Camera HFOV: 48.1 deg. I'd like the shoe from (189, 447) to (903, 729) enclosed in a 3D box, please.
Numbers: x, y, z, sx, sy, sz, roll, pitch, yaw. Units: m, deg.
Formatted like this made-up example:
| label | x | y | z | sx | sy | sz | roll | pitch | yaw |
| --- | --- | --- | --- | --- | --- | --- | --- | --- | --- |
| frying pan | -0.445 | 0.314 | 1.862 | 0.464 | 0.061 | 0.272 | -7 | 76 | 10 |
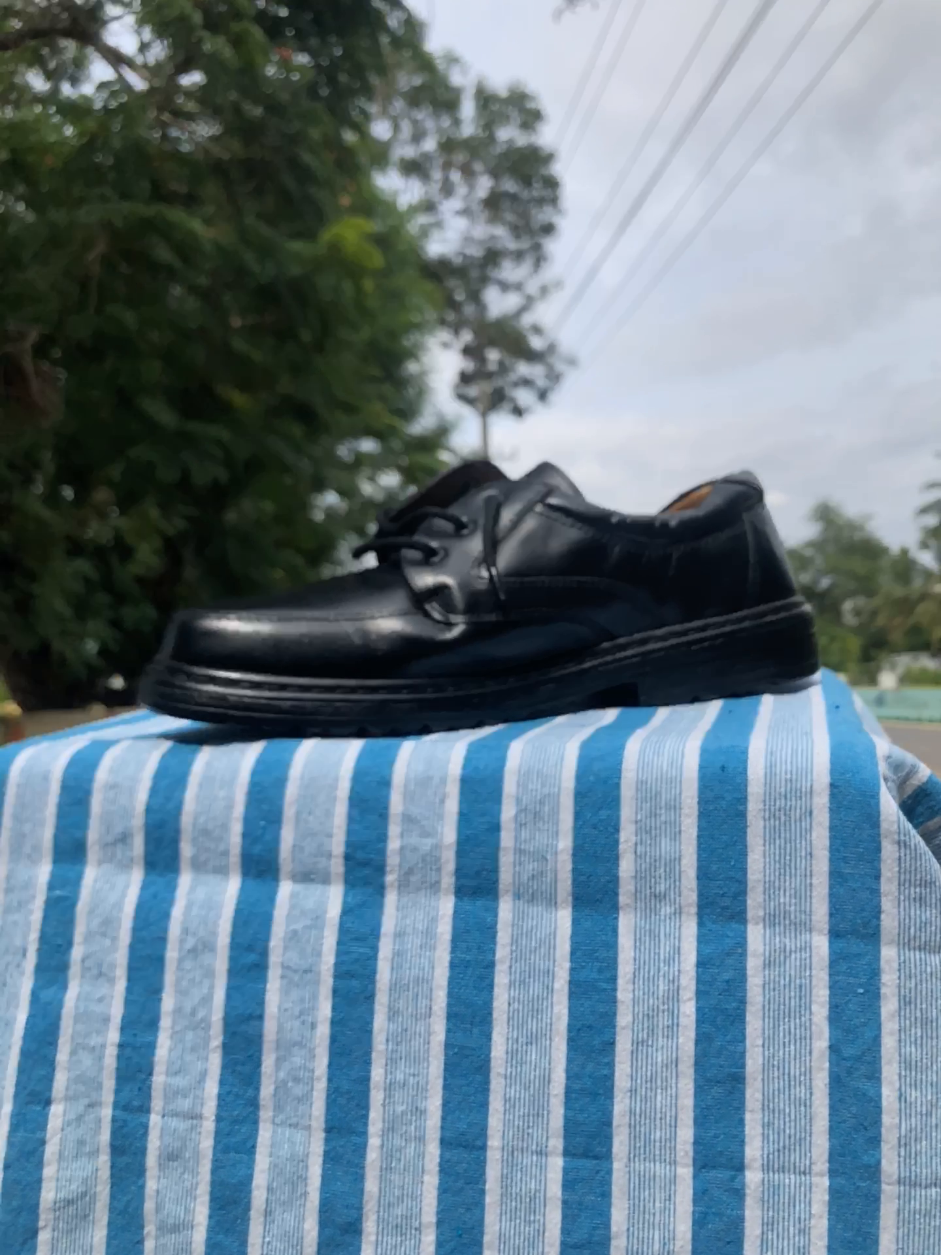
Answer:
| label | x | y | z | sx | sy | sz | roll | pitch | yaw |
| --- | --- | --- | --- | --- | --- | --- | --- | --- | --- |
| shoe | 0.028 | -0.018 | 0.464 | 0.290 | 0.100 | 0.110 | -1 | 1 | -15 |
